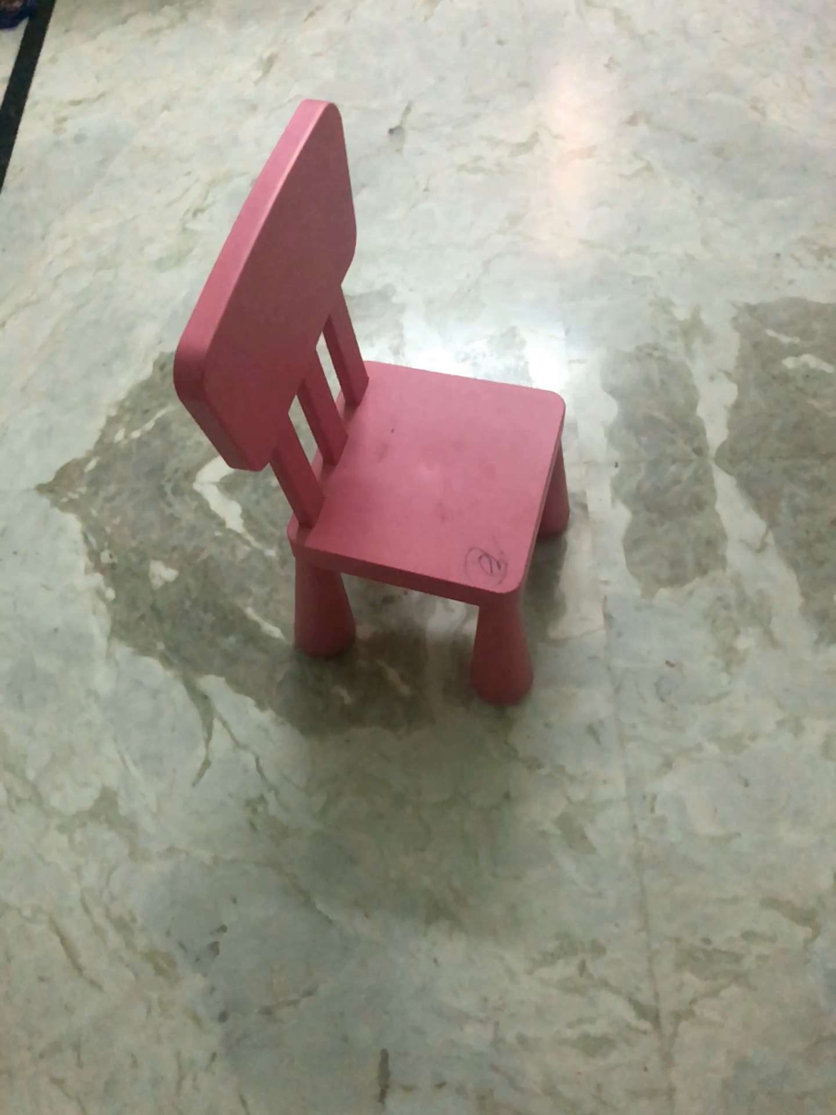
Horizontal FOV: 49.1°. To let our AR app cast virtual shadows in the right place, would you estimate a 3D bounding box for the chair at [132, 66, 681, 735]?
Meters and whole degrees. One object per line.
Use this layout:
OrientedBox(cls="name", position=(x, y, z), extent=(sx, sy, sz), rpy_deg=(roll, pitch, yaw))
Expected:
OrientedBox(cls="chair", position=(0.018, -0.124, 1.056), extent=(0.380, 0.627, 0.401), rpy_deg=(12, 62, 8))
